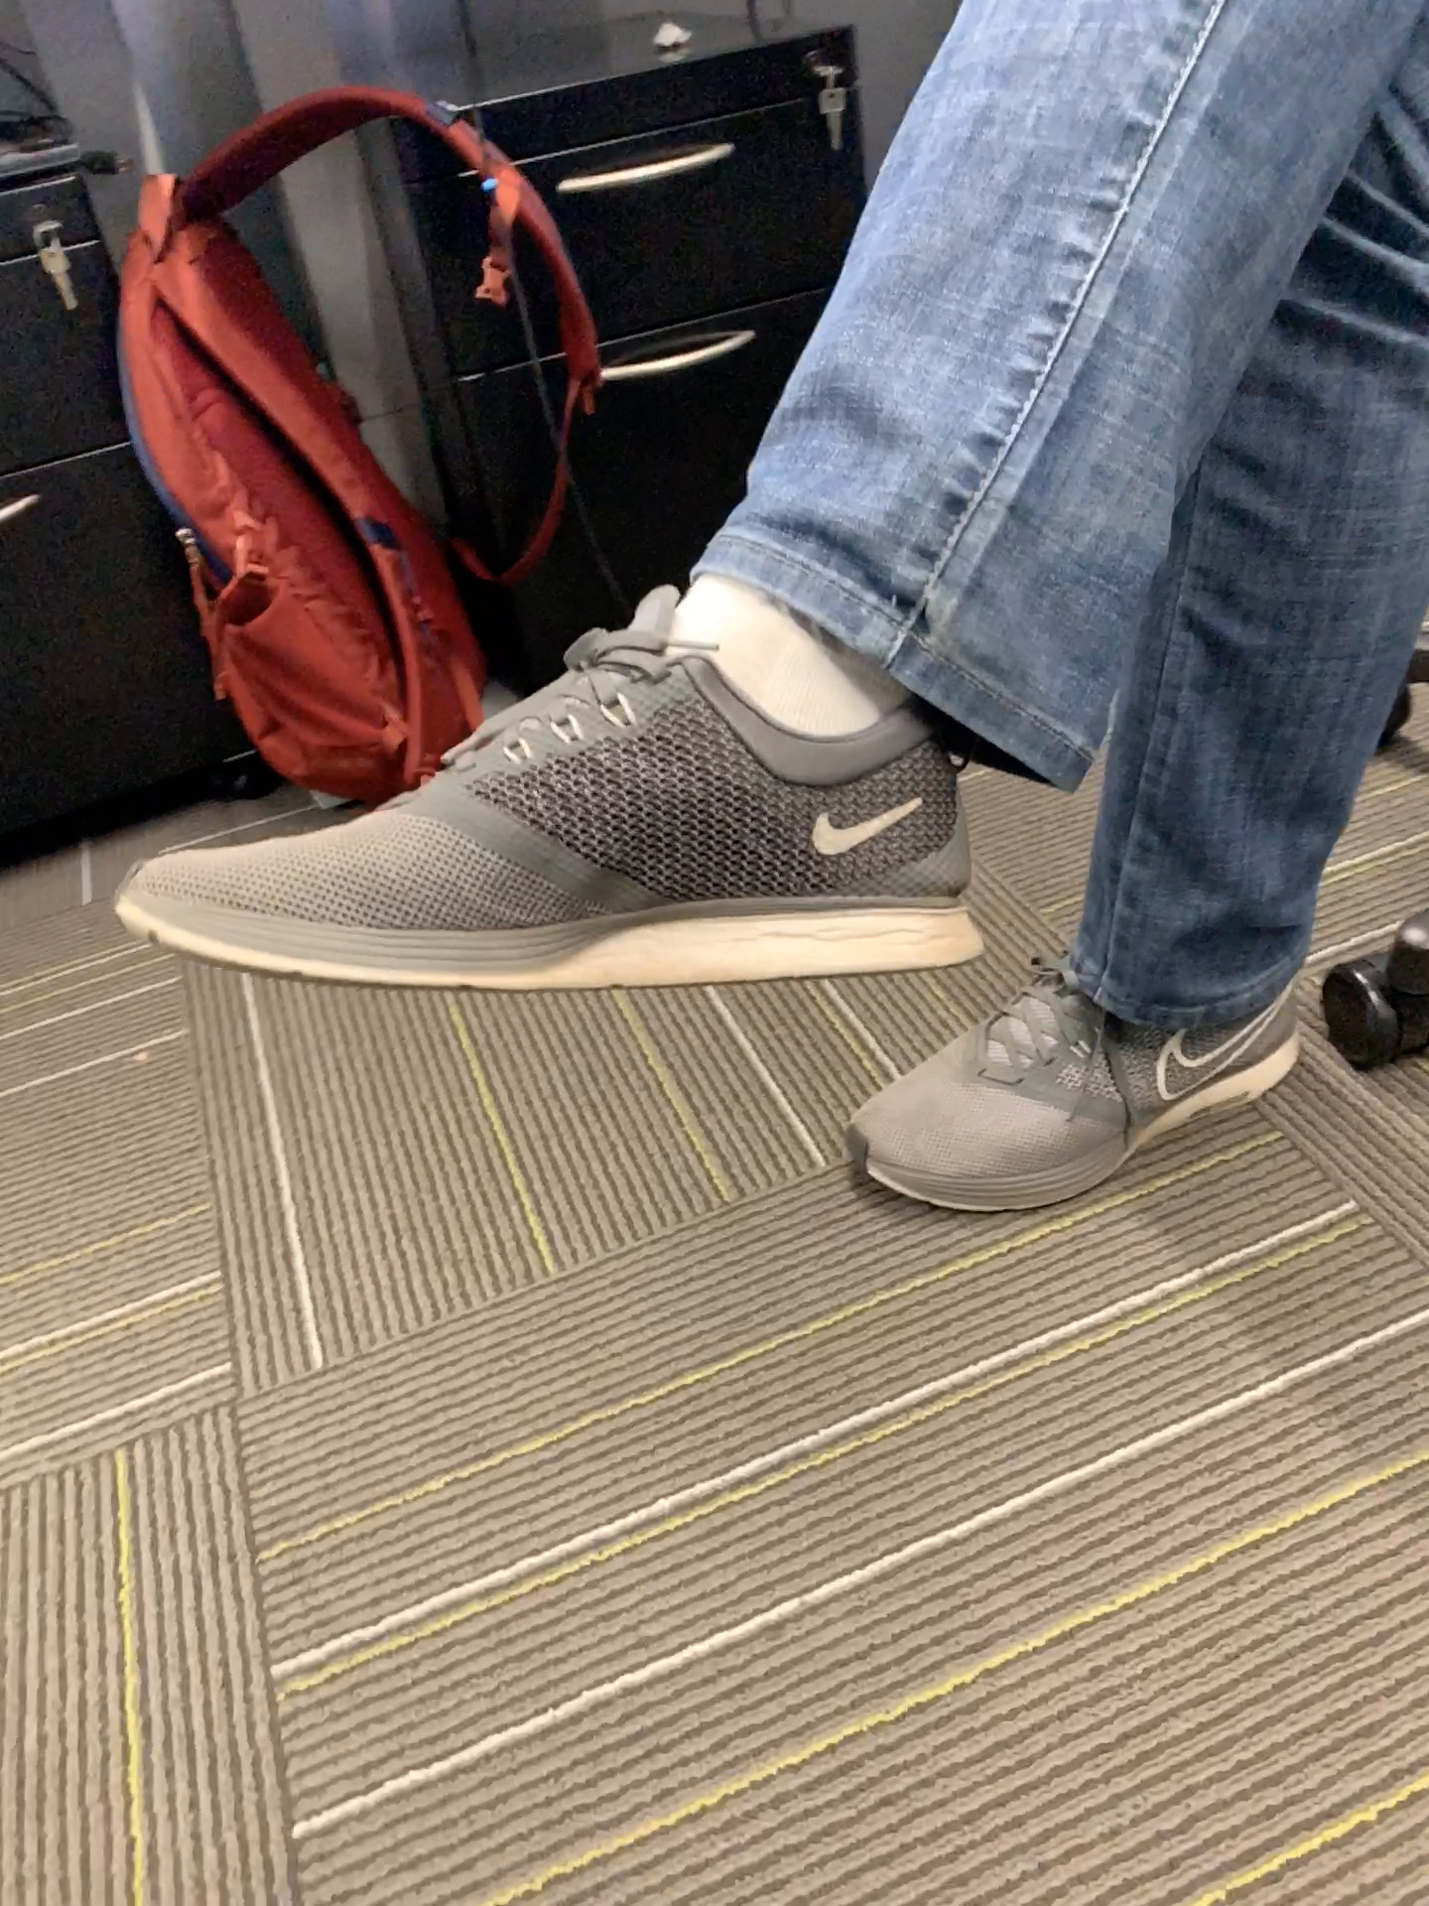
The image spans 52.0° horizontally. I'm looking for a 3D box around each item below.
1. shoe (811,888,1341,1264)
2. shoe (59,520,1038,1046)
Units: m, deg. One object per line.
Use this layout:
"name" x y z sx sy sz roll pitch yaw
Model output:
"shoe" 0.208 0.066 0.858 0.269 0.085 0.120 -18 36 -11
"shoe" -0.055 -0.053 0.517 0.295 0.143 0.122 -4 -6 -4
